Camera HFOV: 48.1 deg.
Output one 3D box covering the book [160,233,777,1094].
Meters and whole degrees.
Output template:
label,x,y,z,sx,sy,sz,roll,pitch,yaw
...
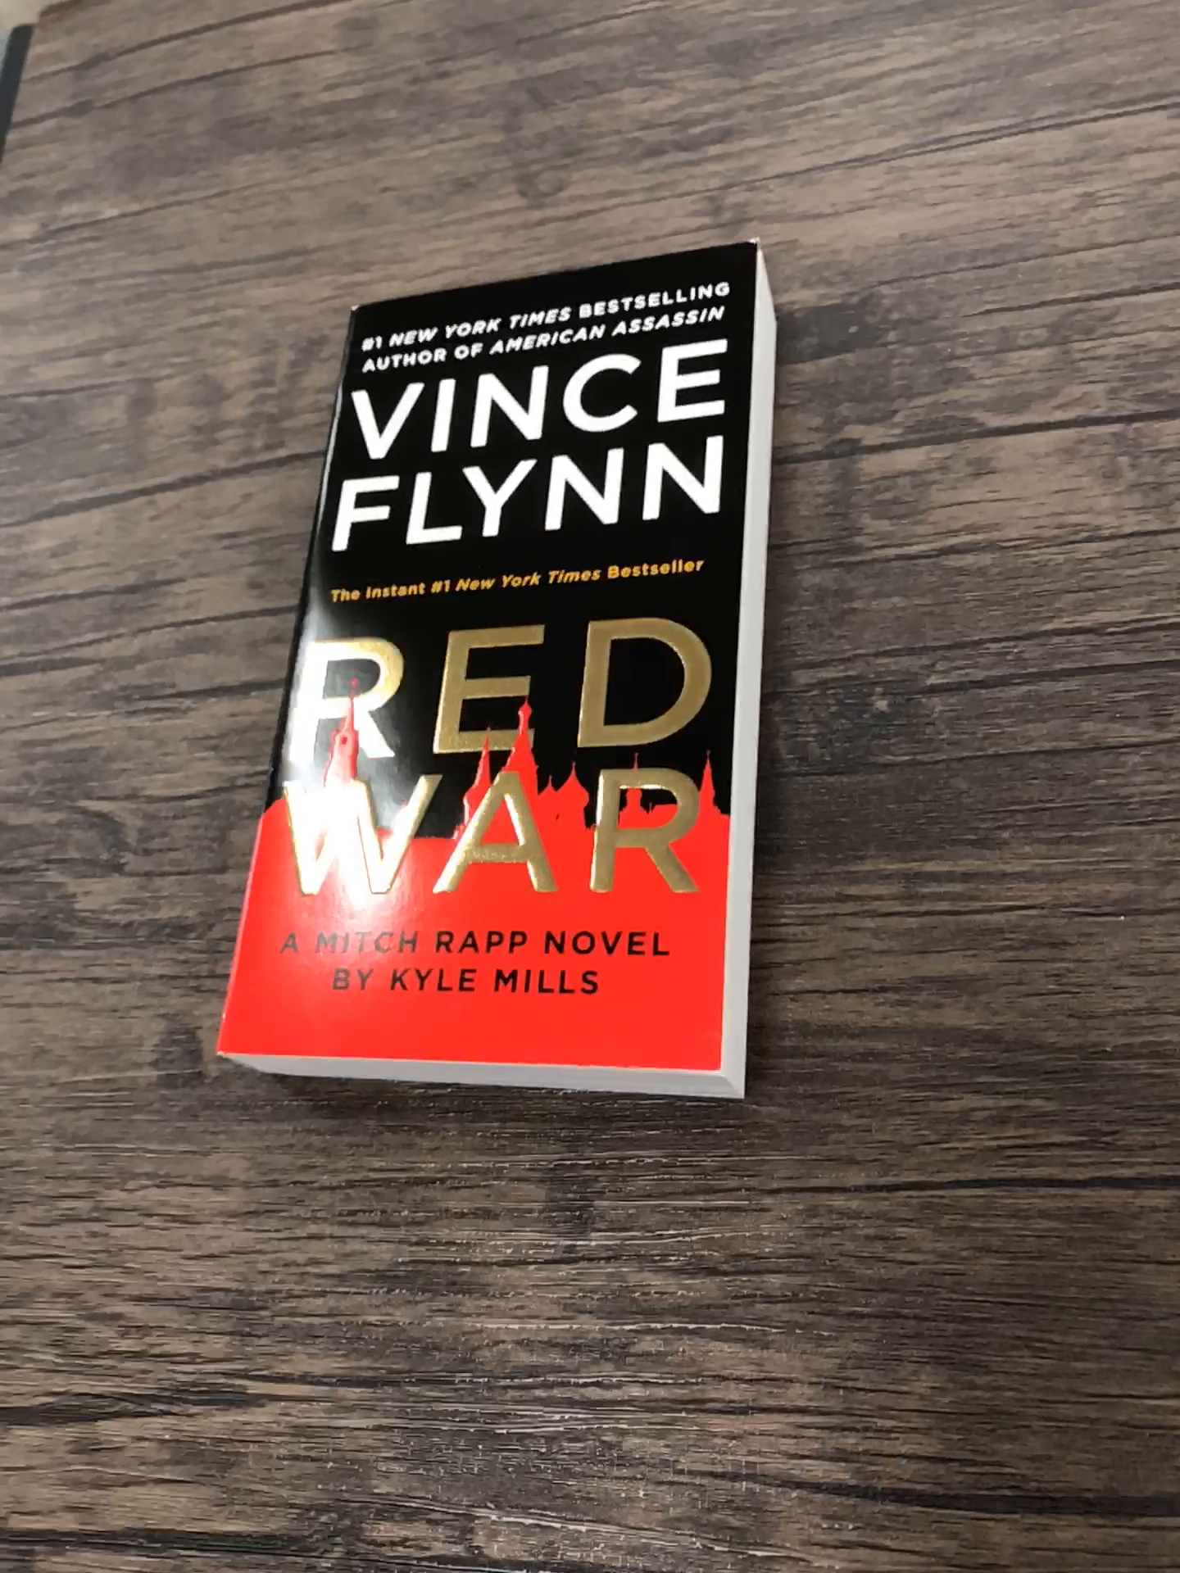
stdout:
label,x,y,z,sx,sy,sz,roll,pitch,yaw
book,-0.019,-0.030,0.286,0.110,0.030,0.183,-2,66,16
